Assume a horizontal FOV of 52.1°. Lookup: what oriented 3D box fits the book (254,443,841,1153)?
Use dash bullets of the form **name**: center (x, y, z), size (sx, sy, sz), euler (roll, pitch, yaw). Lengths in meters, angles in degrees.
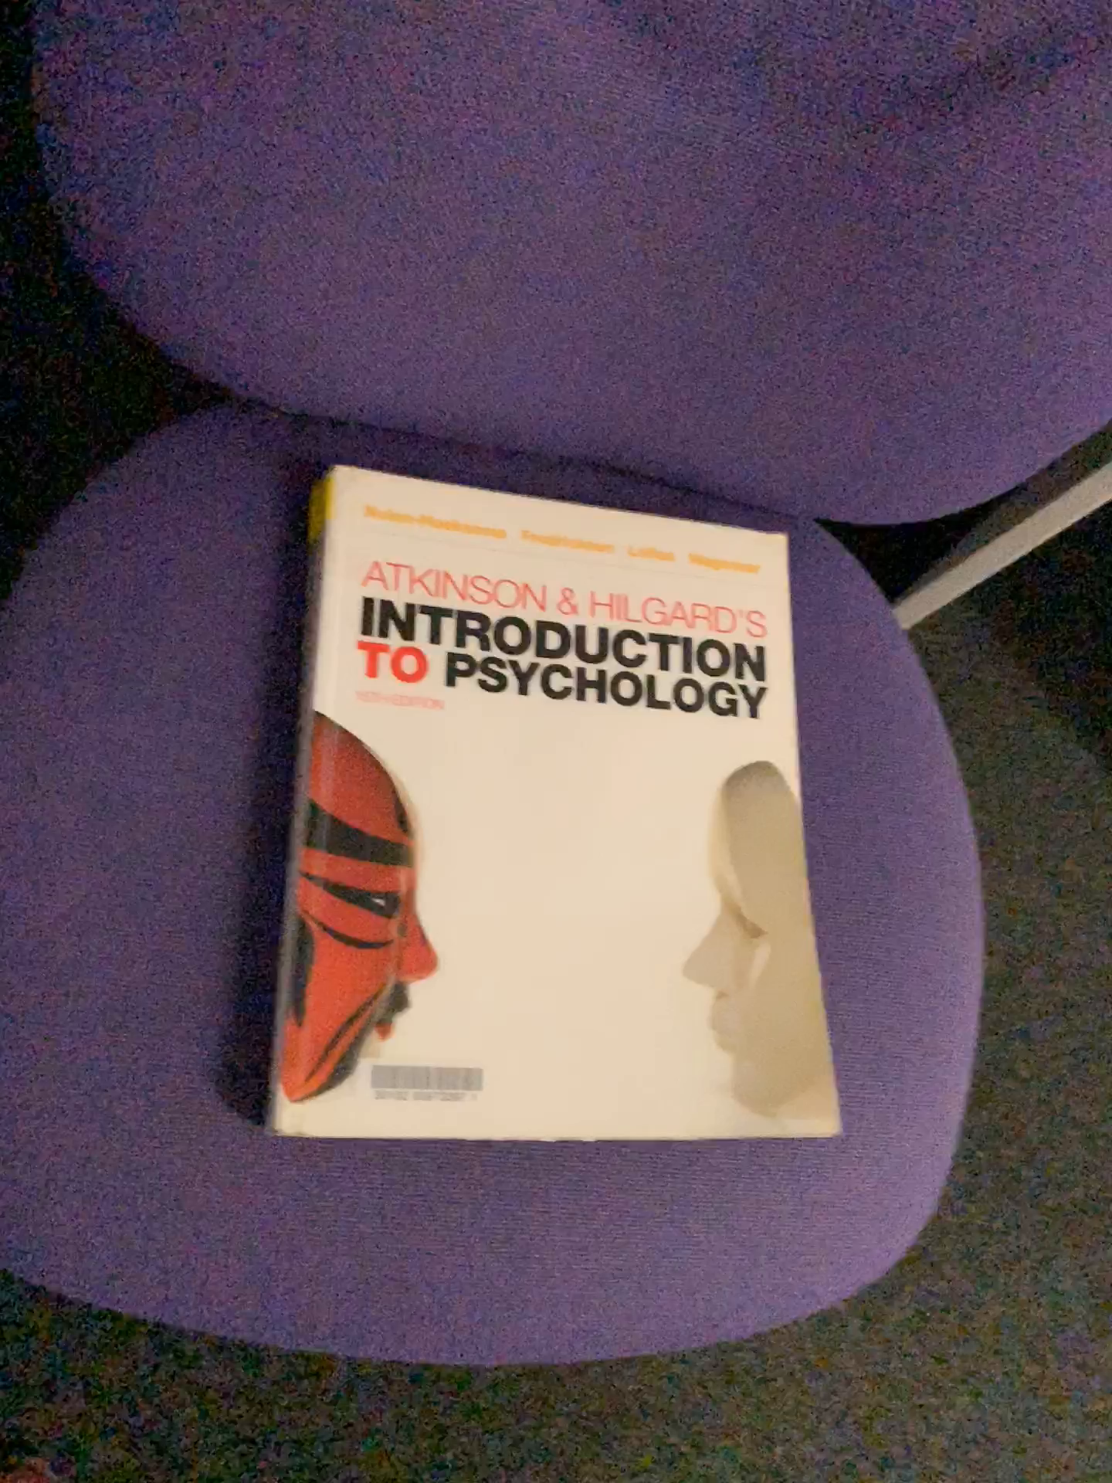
- **book**: center (0.001, 0.023, 0.480), size (0.222, 0.035, 0.283), euler (6, 69, -15)
